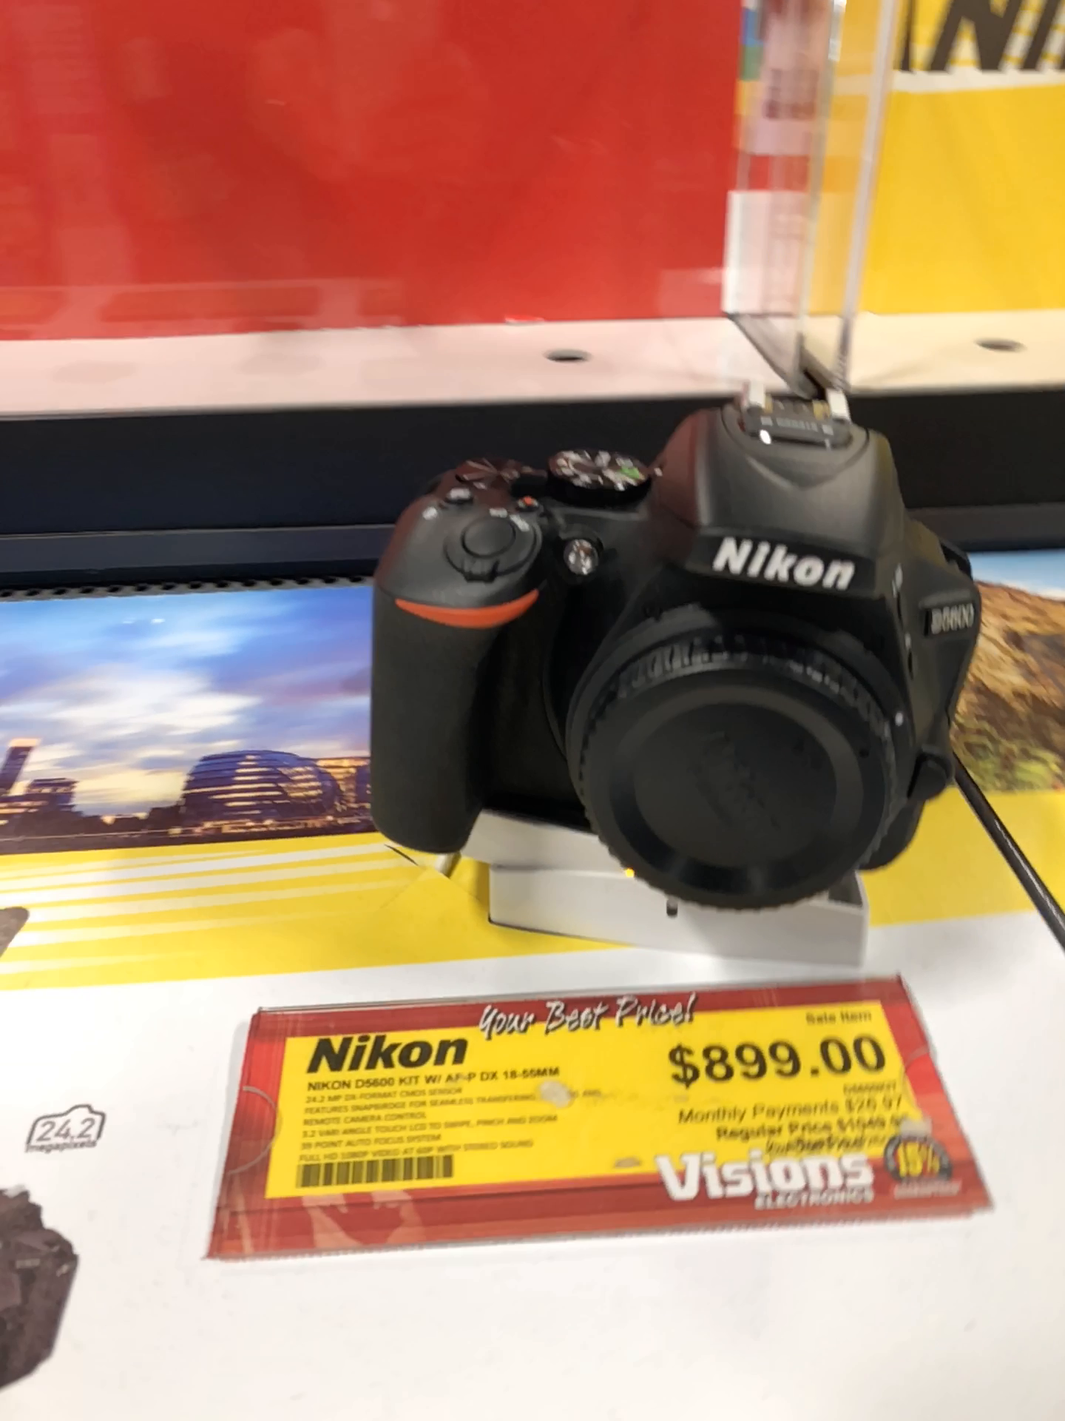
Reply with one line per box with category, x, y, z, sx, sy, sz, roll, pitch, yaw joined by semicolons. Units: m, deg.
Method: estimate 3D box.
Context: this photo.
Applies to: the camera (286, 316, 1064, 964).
camera;0.032;-0.021;0.245;0.140;0.089;0.080;9;30;8
